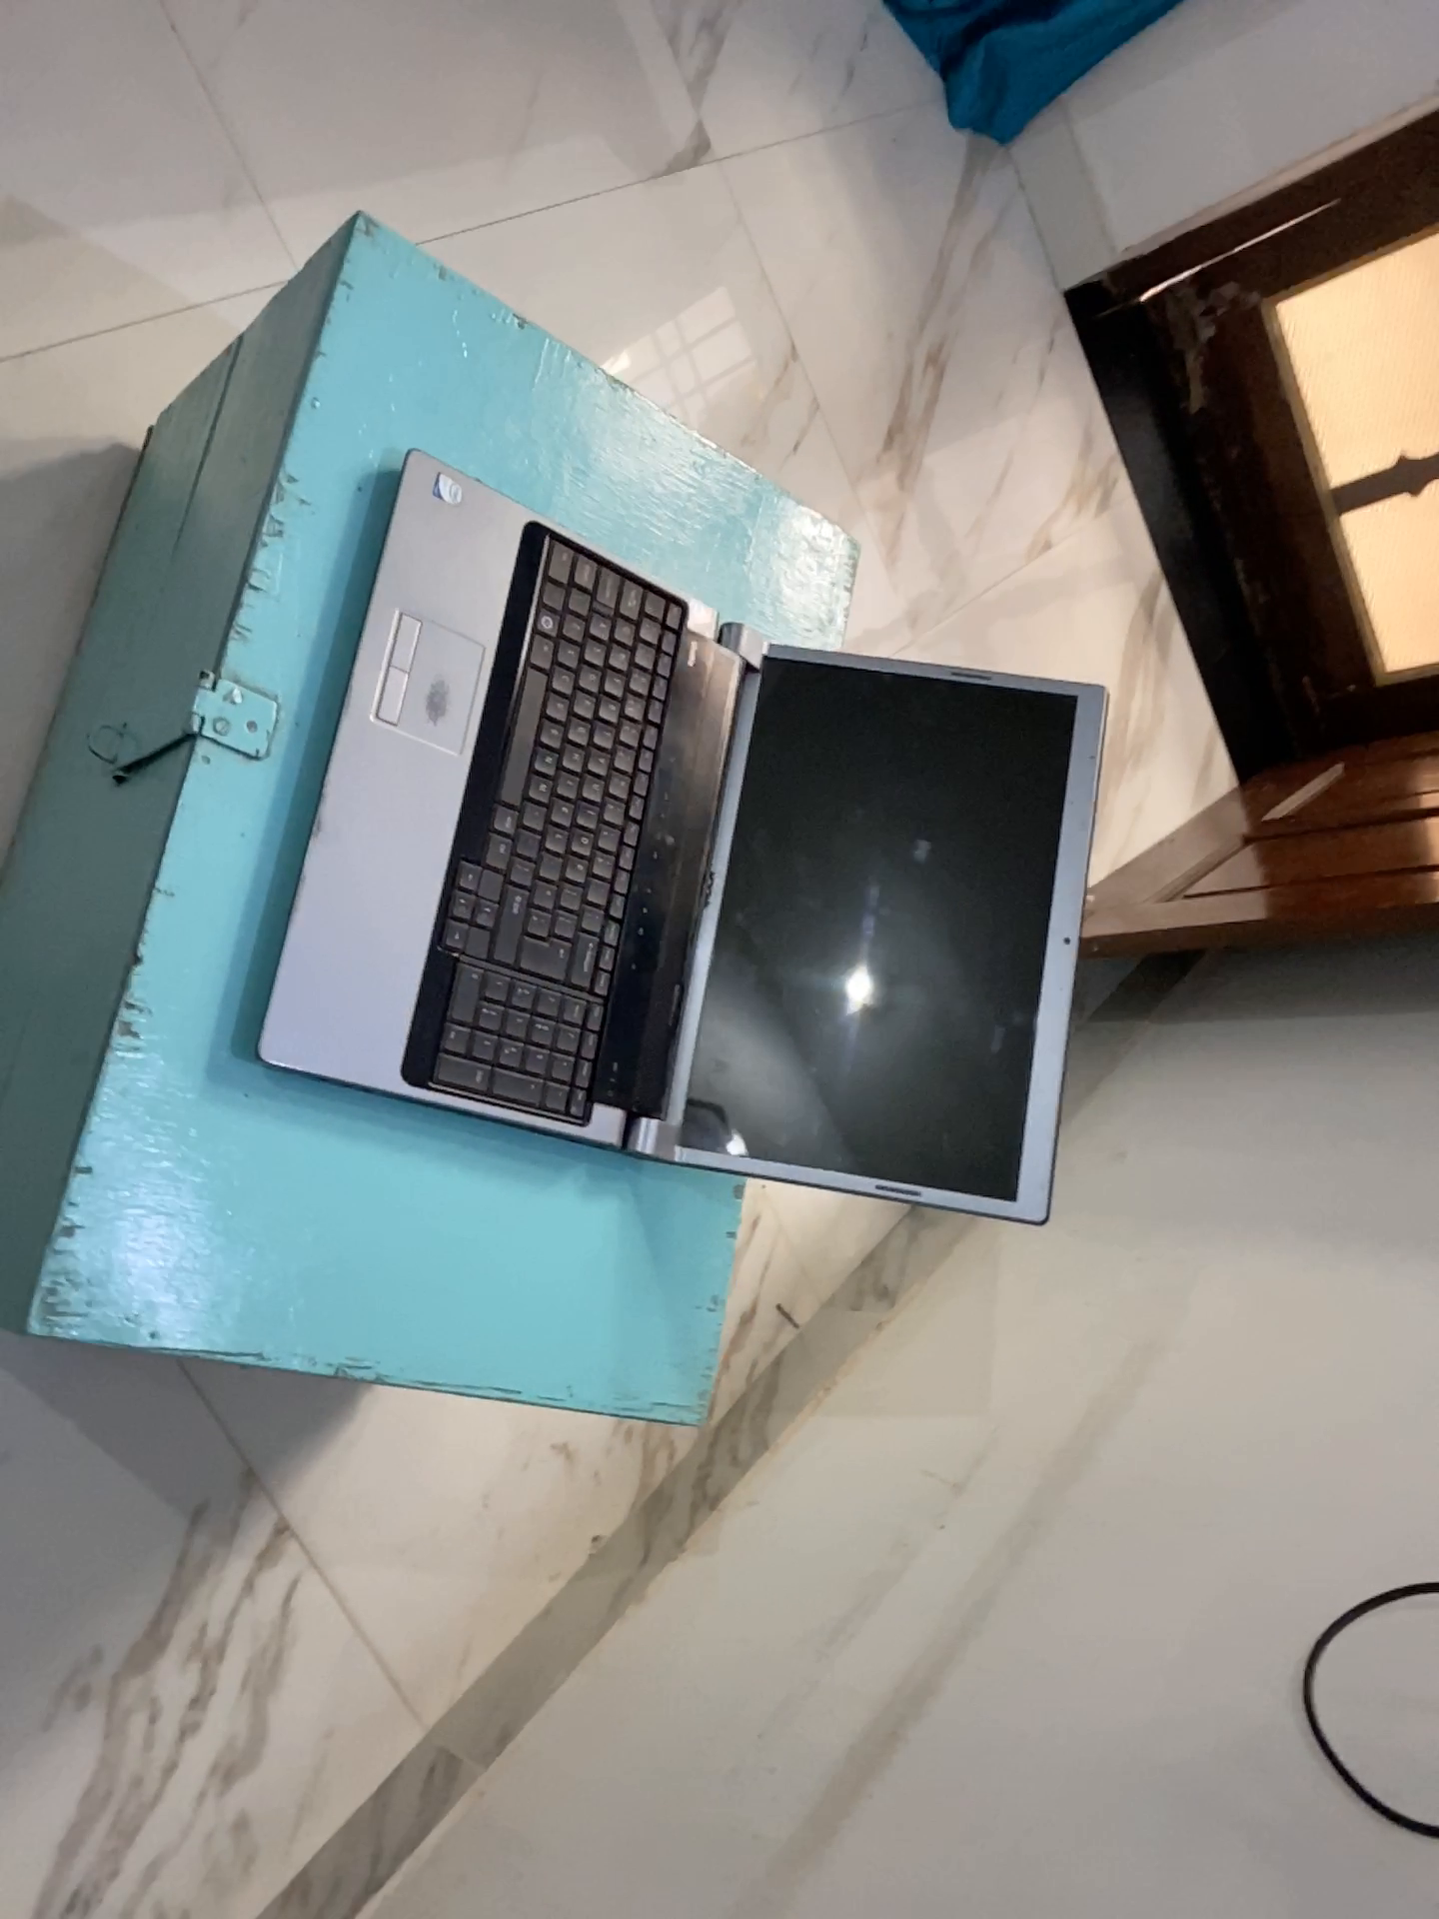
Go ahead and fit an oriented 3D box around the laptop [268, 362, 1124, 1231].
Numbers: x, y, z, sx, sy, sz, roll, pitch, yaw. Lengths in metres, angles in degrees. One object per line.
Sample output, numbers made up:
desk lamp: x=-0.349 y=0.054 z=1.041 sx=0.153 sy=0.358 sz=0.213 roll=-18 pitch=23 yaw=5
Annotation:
laptop: x=0.021 y=-0.063 z=0.940 sx=0.480 sy=0.178 sz=0.389 roll=20 pitch=73 yaw=-36
